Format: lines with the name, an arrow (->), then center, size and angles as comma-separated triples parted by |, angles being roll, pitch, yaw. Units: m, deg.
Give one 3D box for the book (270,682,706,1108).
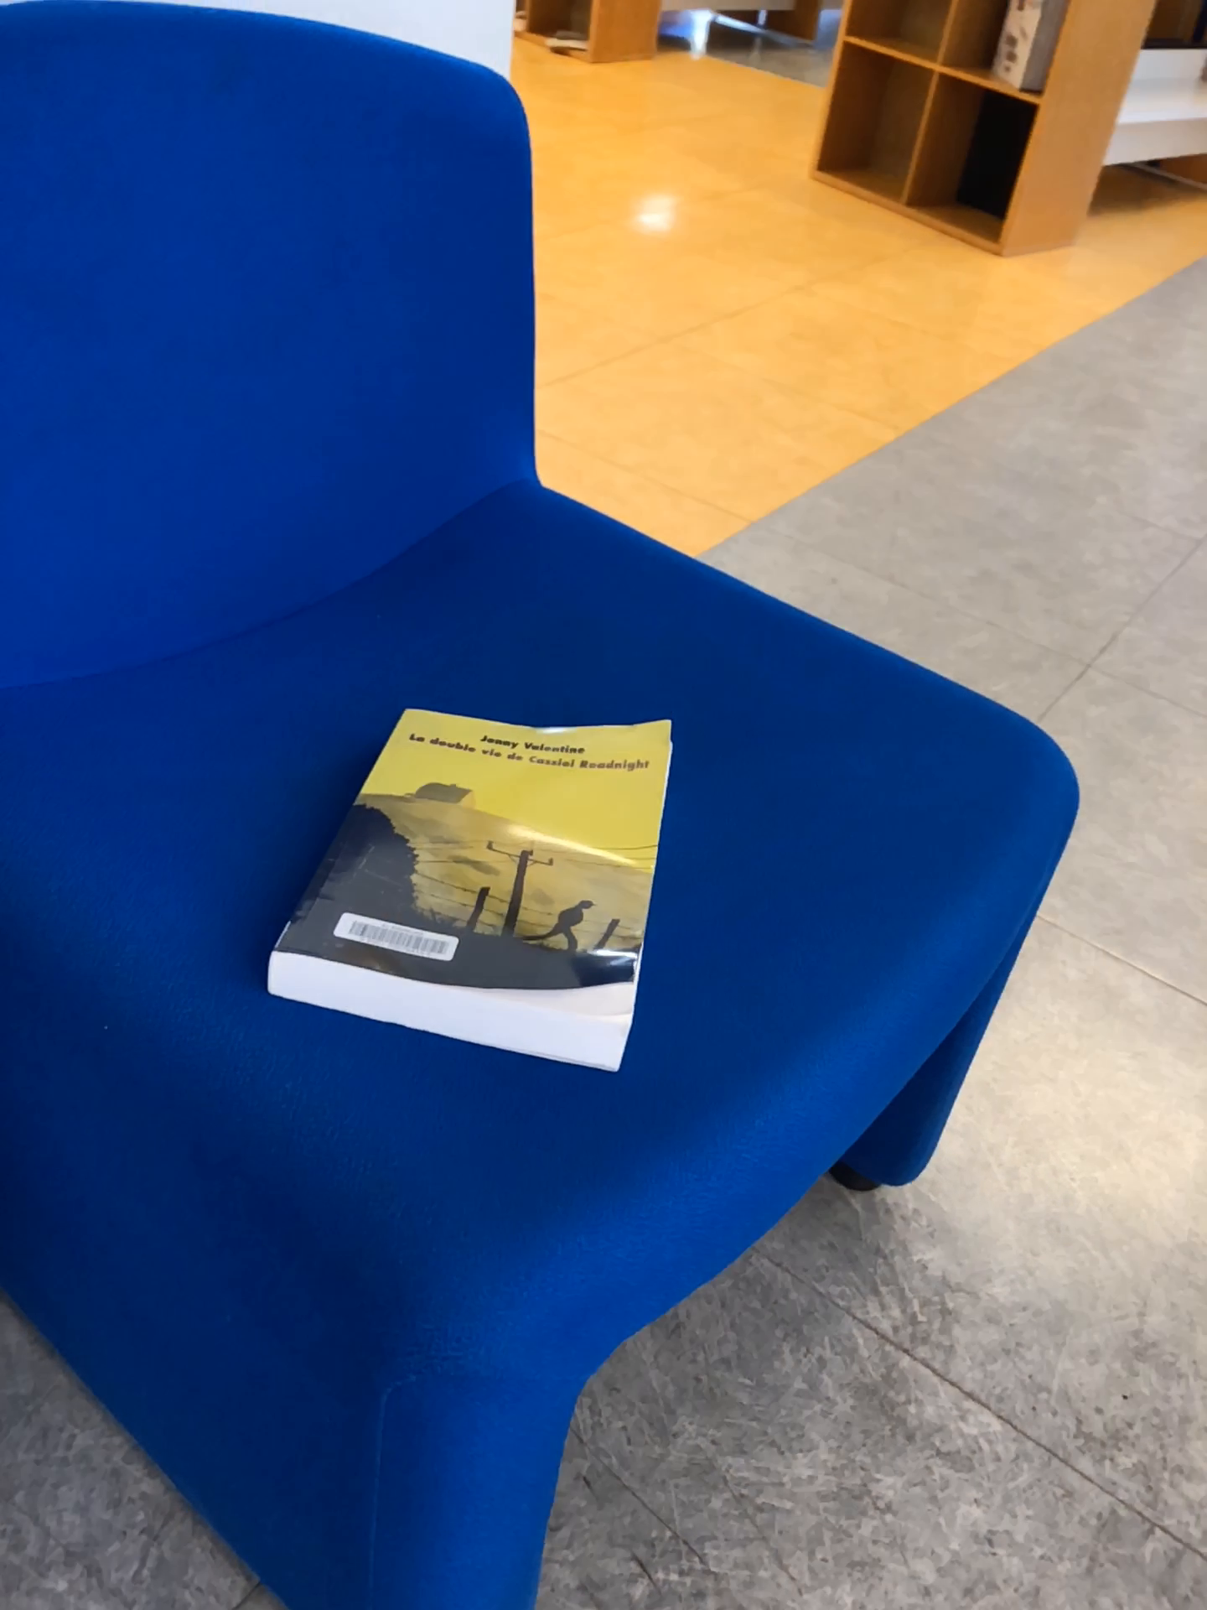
book -> -0.038, 0.026, 0.577 | 0.145, 0.040, 0.216 | 10, 33, 2
